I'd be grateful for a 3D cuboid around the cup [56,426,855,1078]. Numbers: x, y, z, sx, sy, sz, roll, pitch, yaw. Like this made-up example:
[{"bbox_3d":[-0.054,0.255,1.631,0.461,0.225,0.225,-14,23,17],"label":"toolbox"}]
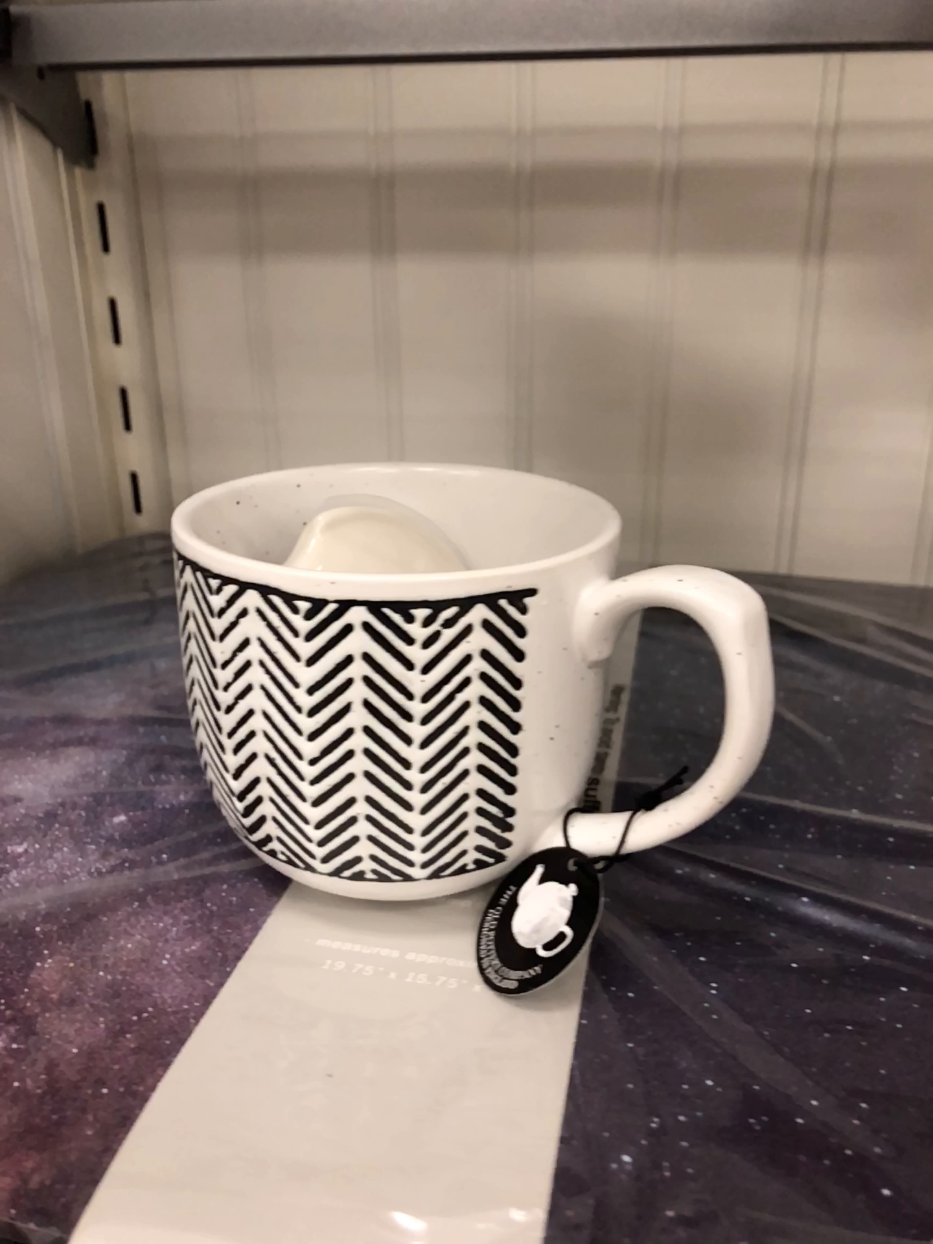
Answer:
[{"bbox_3d":[-0.002,0.011,0.232,0.140,0.079,0.090,13,25,31],"label":"cup"}]
